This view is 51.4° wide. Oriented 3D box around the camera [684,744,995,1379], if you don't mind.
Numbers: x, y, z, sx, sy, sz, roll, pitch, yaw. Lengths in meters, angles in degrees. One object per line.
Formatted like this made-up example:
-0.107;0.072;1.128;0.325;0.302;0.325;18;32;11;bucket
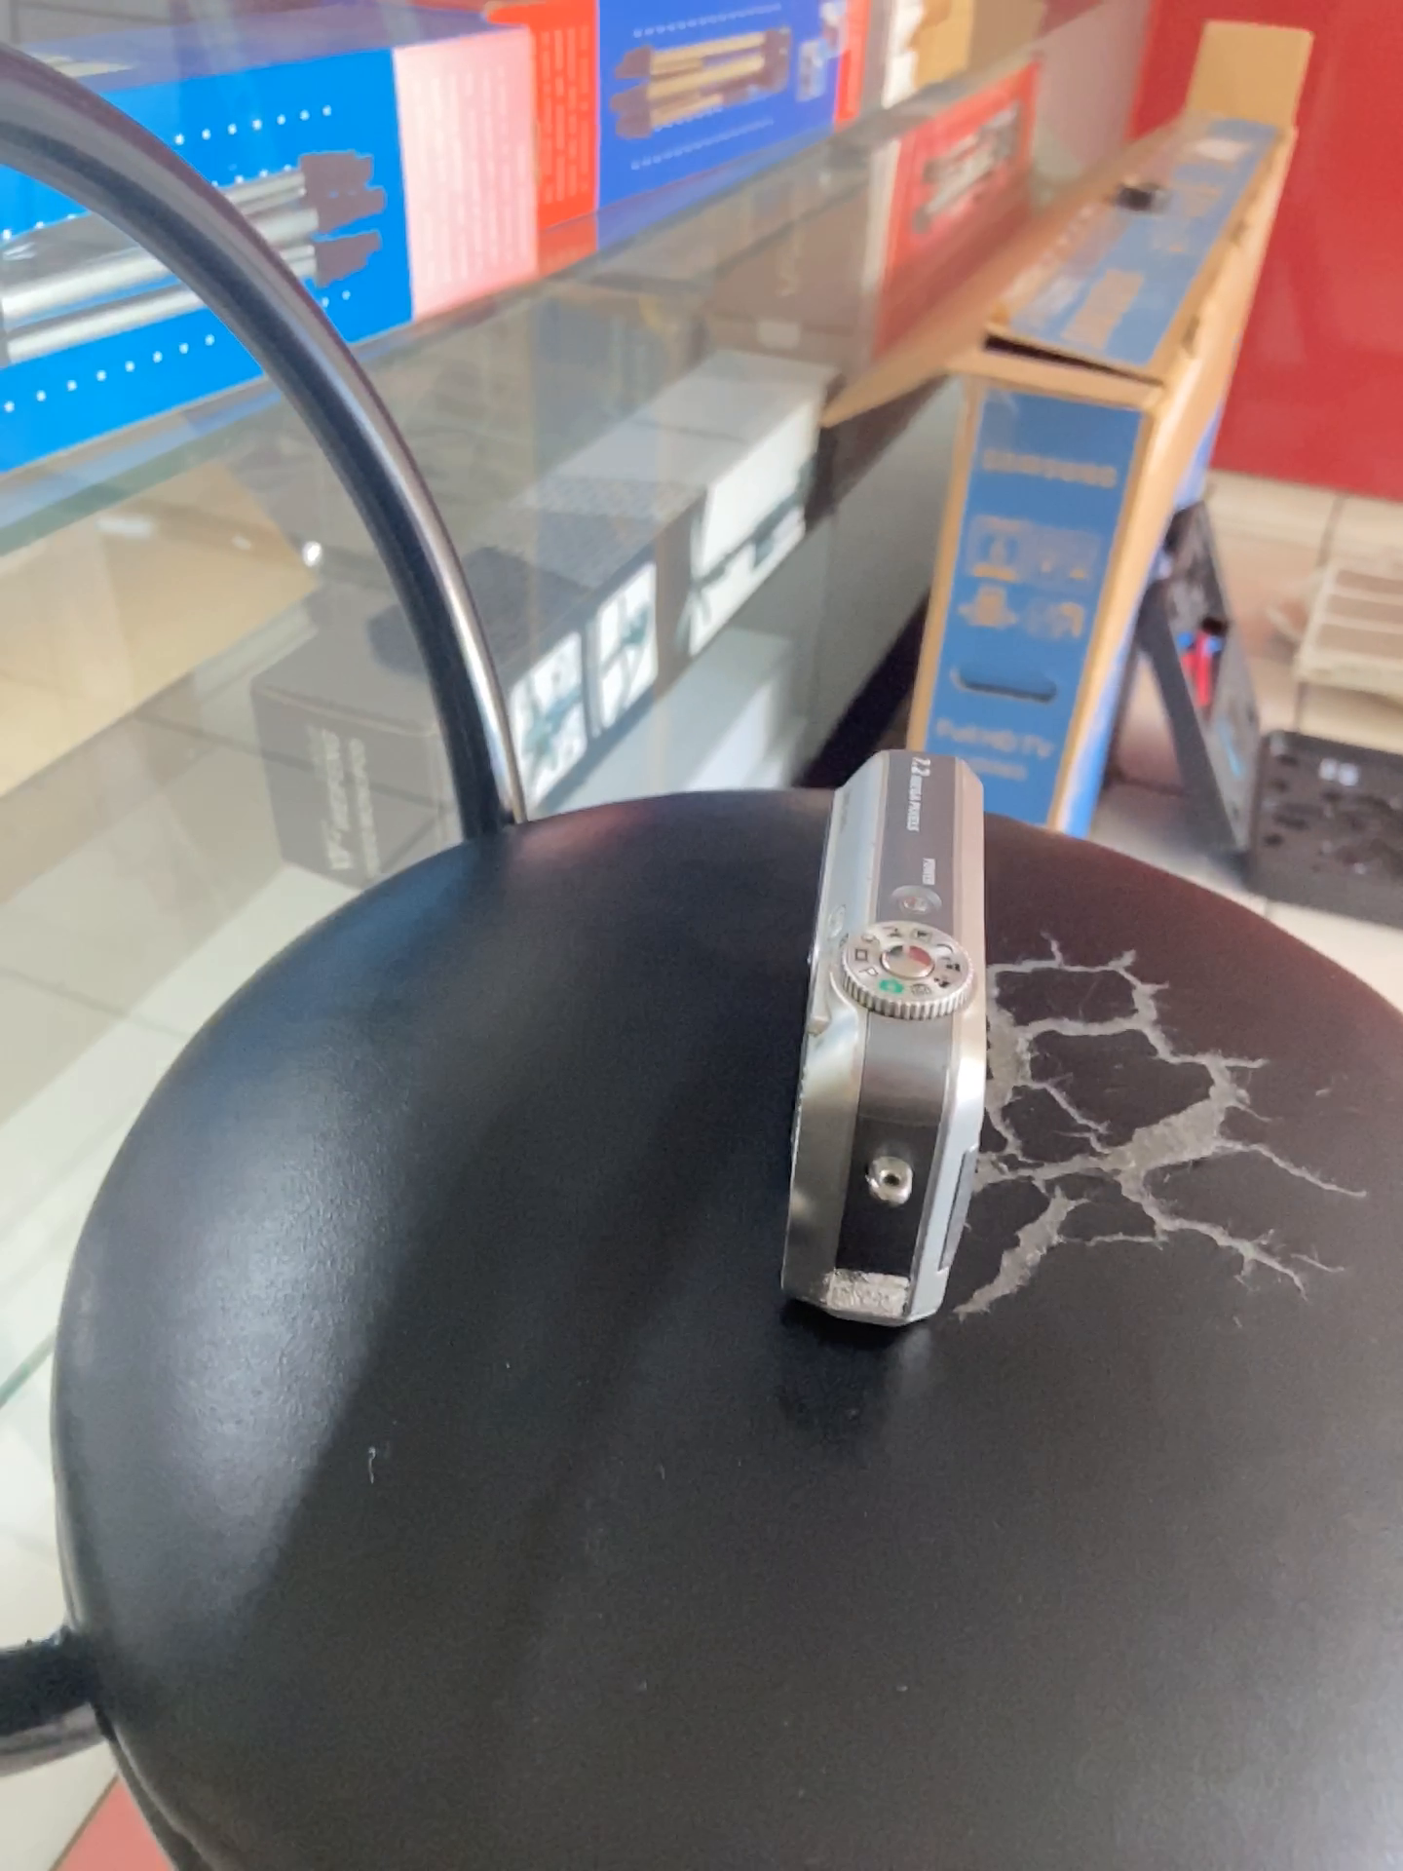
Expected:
0.024;0.016;0.249;0.040;0.050;0.101;6;37;4;camera
